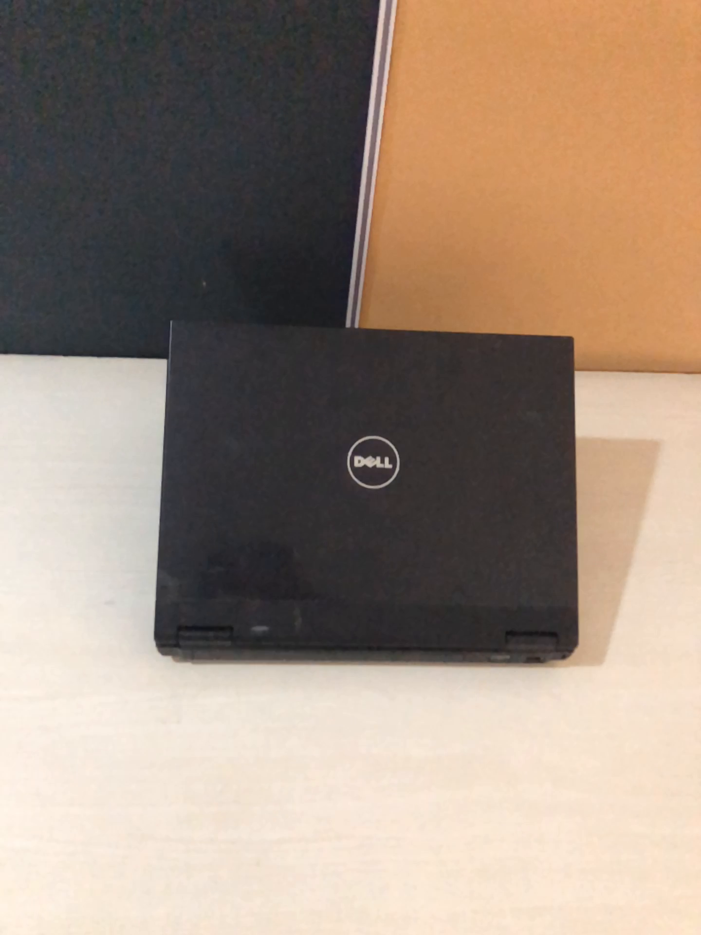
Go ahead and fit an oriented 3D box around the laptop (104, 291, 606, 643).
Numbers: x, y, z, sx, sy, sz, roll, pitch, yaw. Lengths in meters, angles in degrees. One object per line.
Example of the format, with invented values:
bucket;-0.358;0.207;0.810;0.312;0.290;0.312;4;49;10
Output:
laptop;-0.002;-0.002;0.582;0.302;0.126;0.225;2;52;-5
